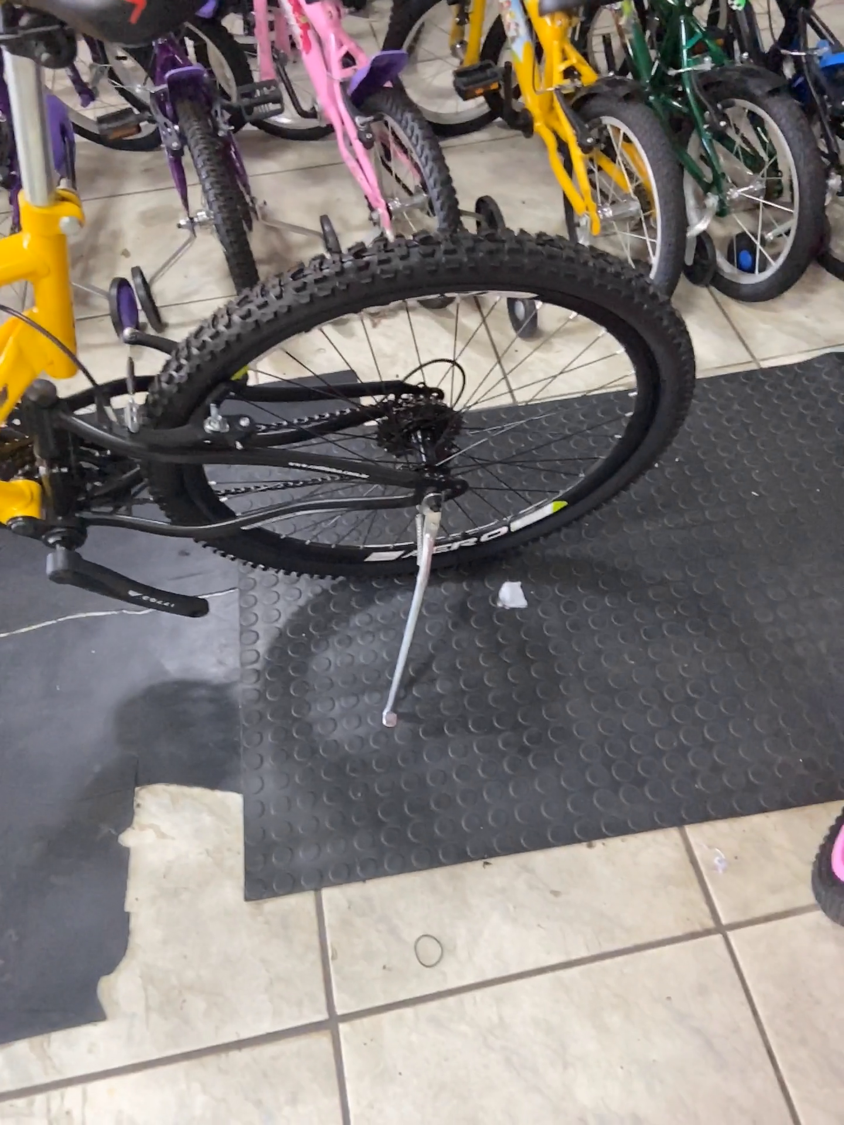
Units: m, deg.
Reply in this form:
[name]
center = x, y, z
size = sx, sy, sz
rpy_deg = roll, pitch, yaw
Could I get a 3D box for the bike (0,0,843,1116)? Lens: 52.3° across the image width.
[bike]
center = -0.466, -0.141, 0.683
size = 1.521, 0.987, 0.477
rpy_deg = -14, 53, -9
